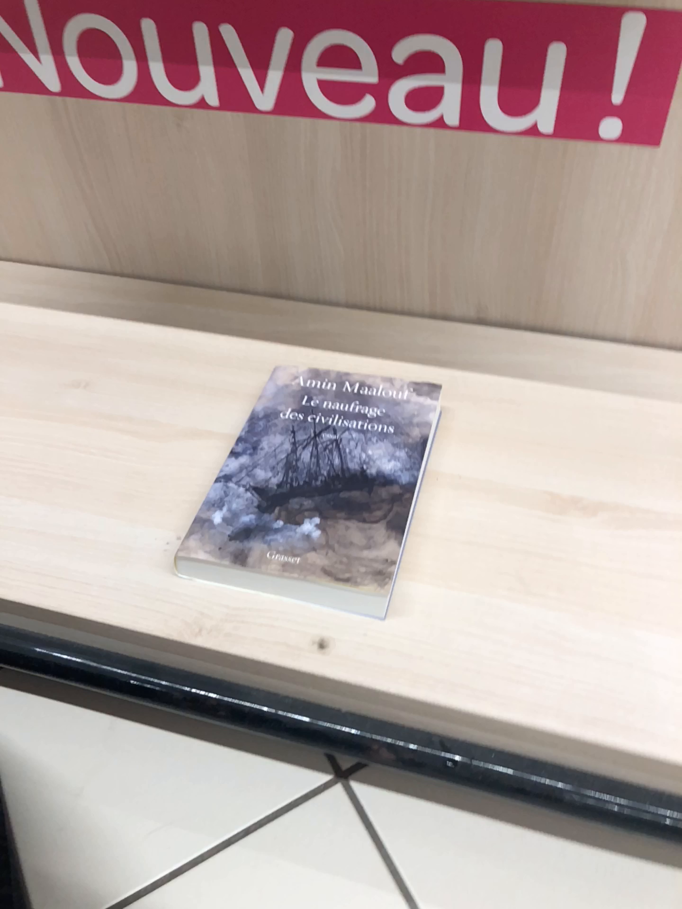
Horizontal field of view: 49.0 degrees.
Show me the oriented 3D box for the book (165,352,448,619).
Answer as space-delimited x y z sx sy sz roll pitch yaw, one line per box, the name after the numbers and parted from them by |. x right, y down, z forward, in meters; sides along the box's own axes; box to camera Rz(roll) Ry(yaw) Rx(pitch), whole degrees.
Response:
-0.013 0.009 0.543 0.147 0.026 0.212 9 46 12 | book
